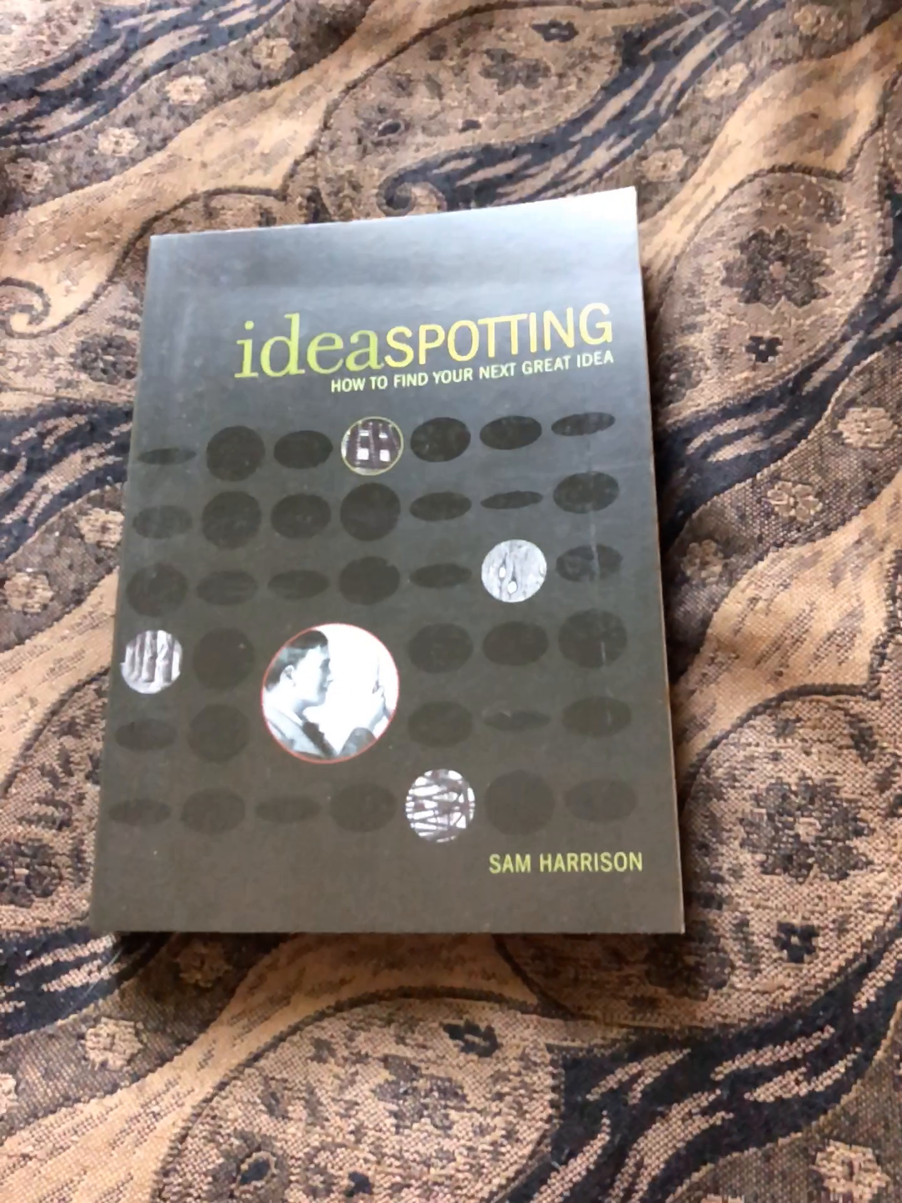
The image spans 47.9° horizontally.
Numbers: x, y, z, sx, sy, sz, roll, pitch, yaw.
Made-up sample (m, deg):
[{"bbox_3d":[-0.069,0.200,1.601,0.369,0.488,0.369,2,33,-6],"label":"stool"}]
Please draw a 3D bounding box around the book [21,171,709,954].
[{"bbox_3d":[-0.018,-0.010,0.248,0.140,0.040,0.180,-3,72,7],"label":"book"}]
